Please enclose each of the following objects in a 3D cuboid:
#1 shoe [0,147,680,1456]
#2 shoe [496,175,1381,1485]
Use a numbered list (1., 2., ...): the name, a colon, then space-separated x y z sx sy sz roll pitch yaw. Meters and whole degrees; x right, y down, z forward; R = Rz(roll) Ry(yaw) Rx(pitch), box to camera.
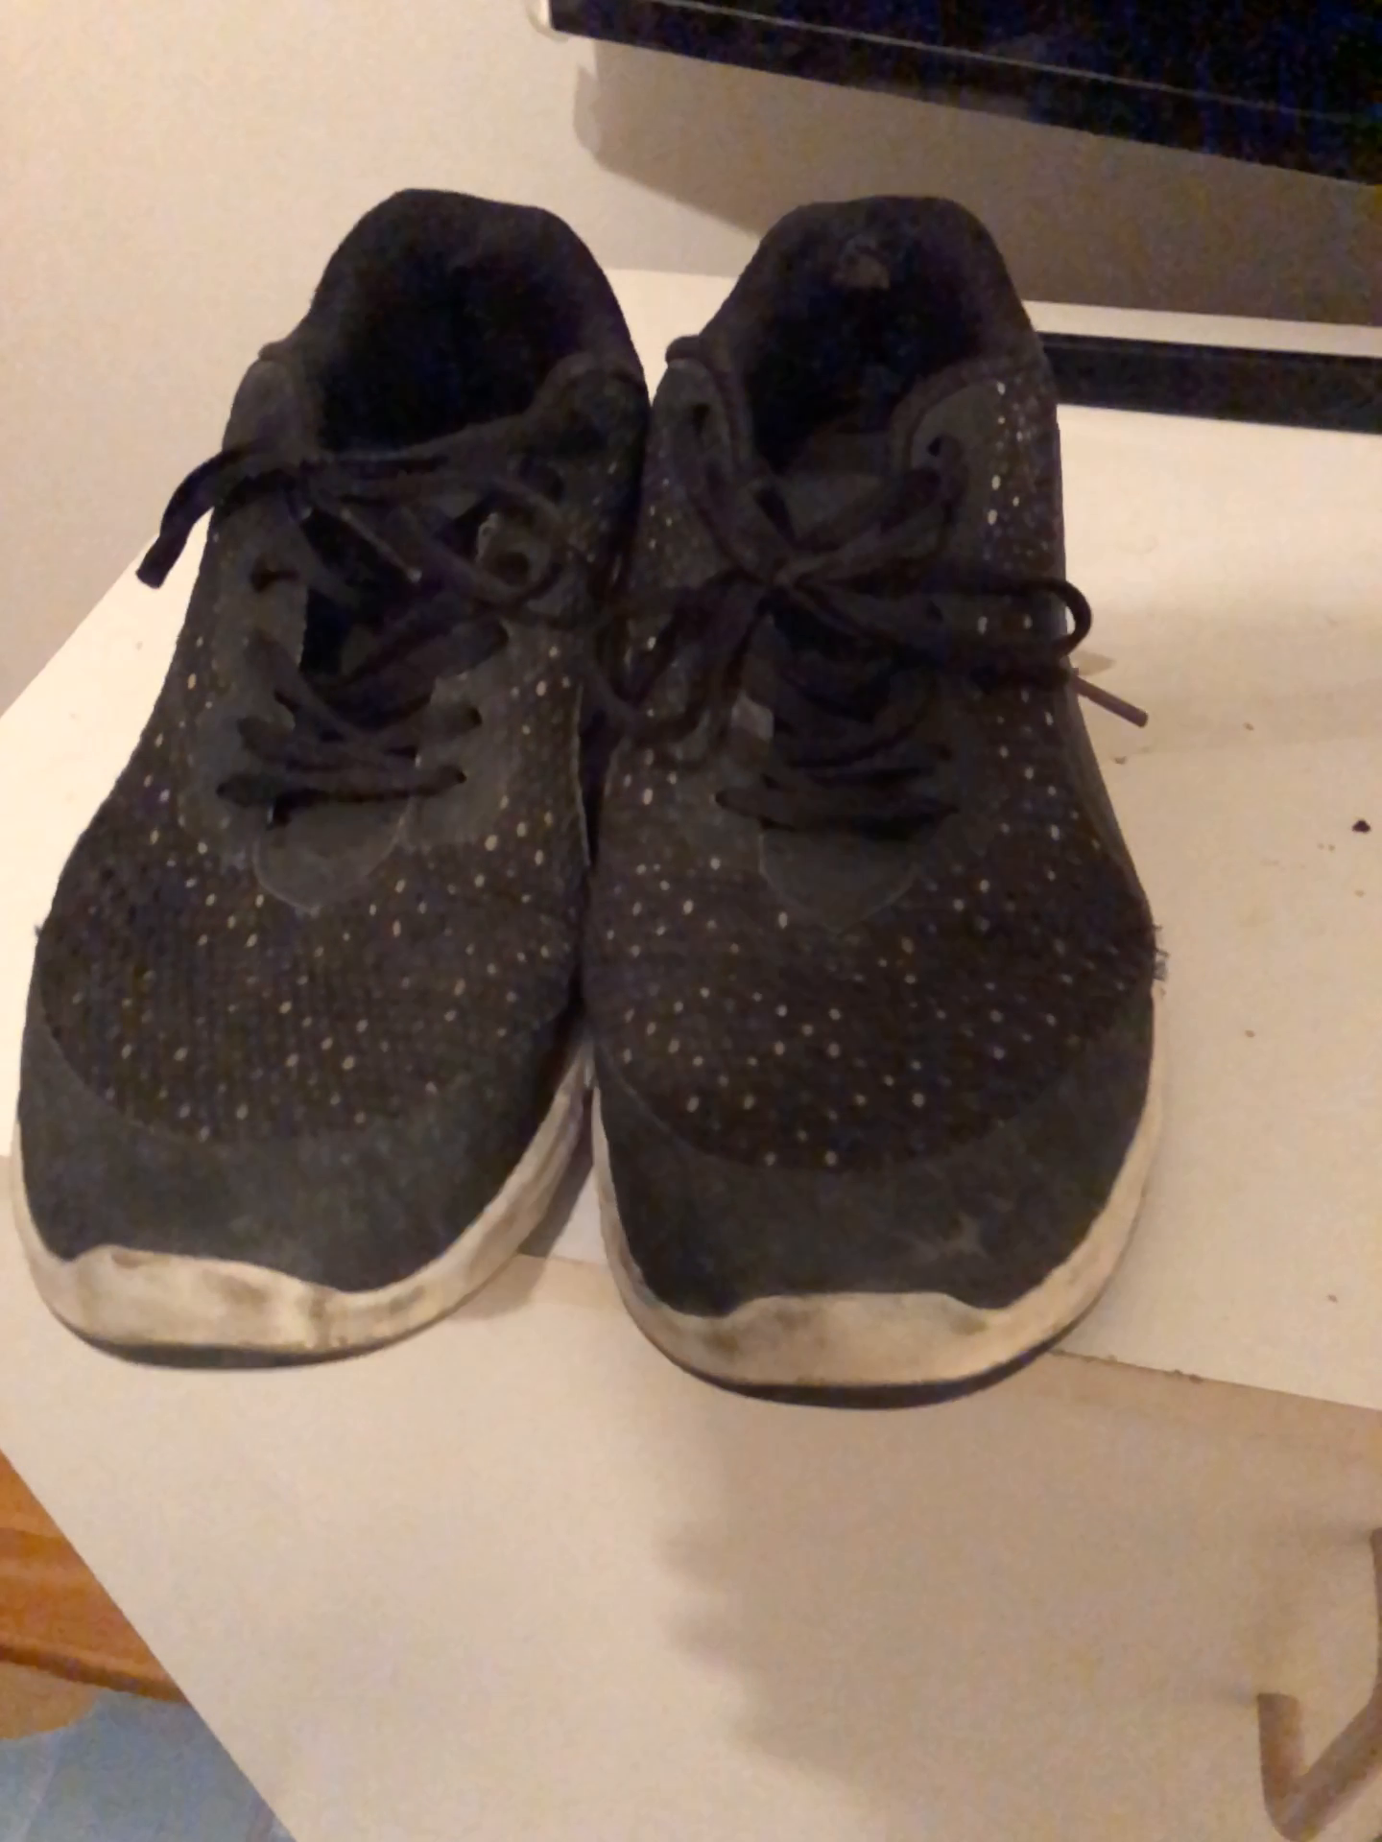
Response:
1. shoe: -0.072 -0.059 0.329 0.120 0.099 0.311 2 45 3
2. shoe: 0.045 -0.053 0.332 0.120 0.099 0.311 2 45 3
